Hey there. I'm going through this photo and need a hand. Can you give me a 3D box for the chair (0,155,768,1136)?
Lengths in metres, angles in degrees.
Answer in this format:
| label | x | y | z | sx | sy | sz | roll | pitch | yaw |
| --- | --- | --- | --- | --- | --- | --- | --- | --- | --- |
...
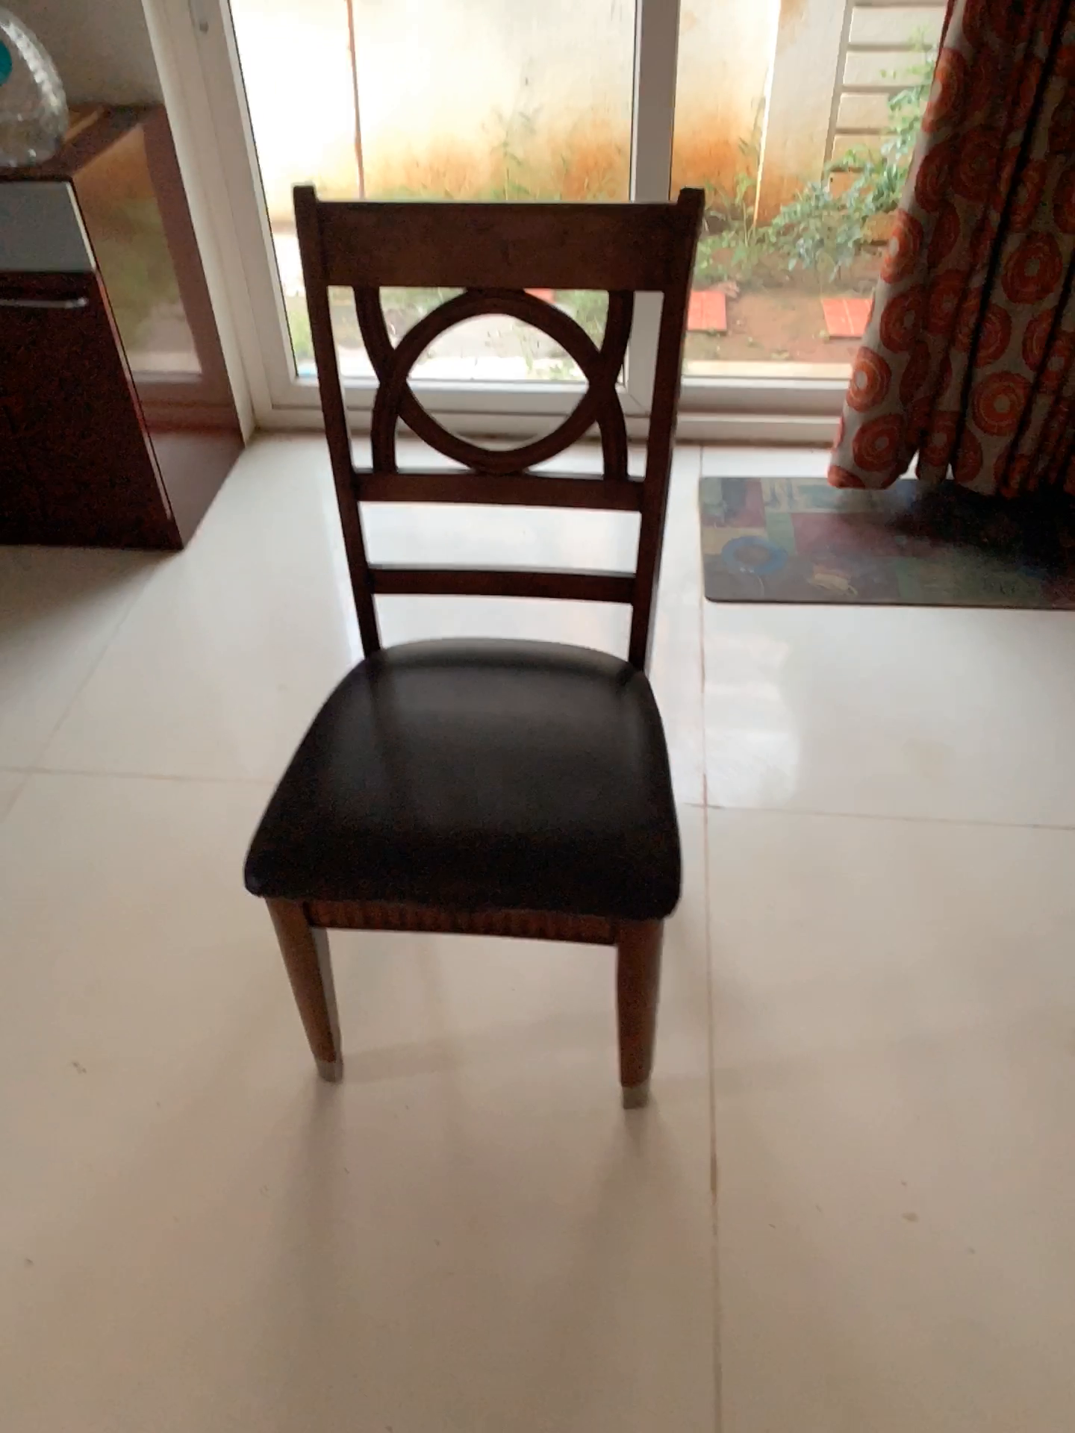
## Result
| label | x | y | z | sx | sy | sz | roll | pitch | yaw |
| --- | --- | --- | --- | --- | --- | --- | --- | --- | --- |
| chair | -0.082 | -0.038 | 1.358 | 0.570 | 1.026 | 0.642 | 2 | 45 | 5 |
